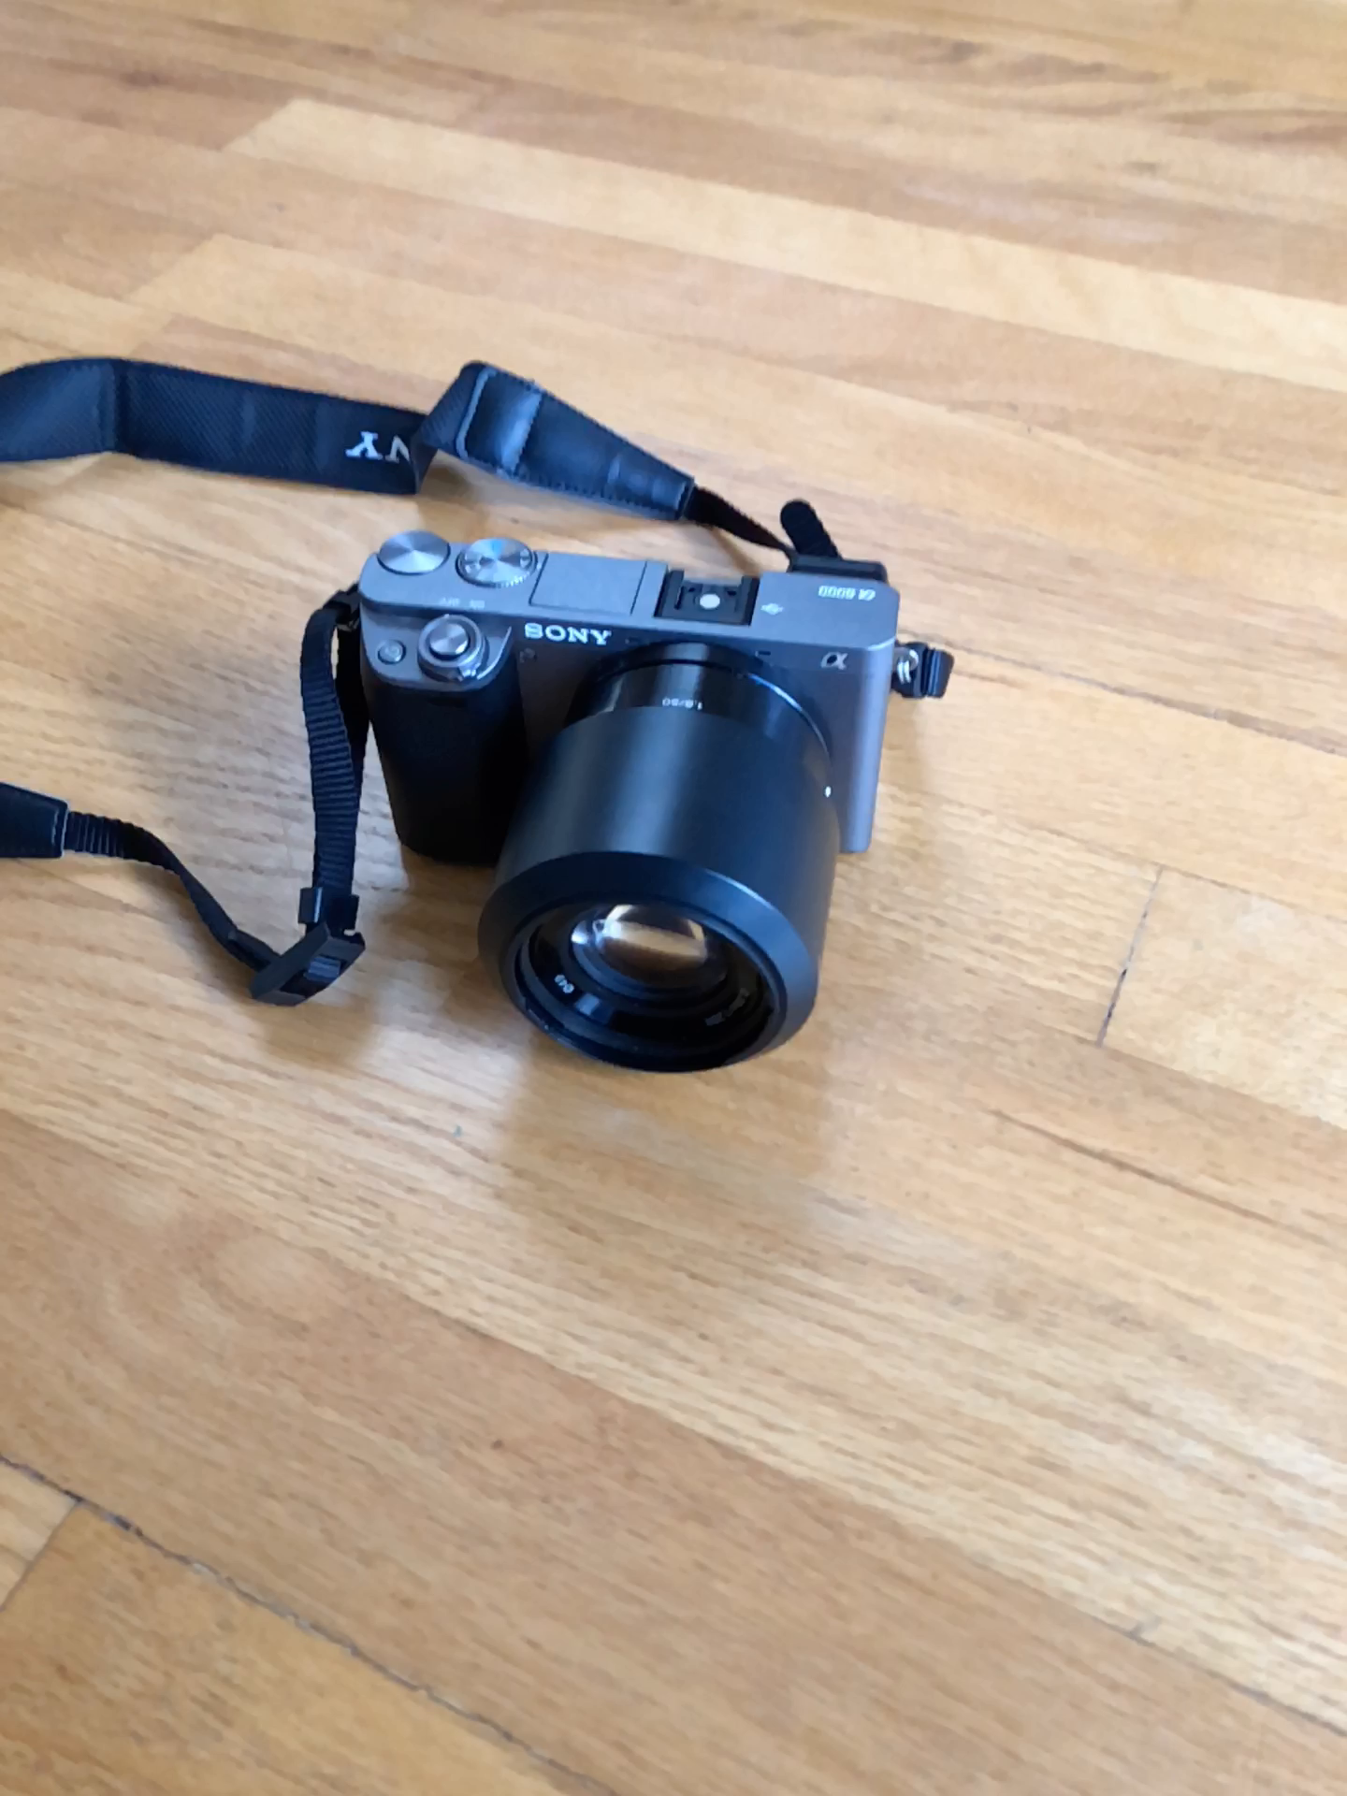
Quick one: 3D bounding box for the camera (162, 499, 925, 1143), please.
[{"bbox_3d":[-0.019,-0.020,0.330,0.136,0.079,0.107,6,48,7],"label":"camera"}]
